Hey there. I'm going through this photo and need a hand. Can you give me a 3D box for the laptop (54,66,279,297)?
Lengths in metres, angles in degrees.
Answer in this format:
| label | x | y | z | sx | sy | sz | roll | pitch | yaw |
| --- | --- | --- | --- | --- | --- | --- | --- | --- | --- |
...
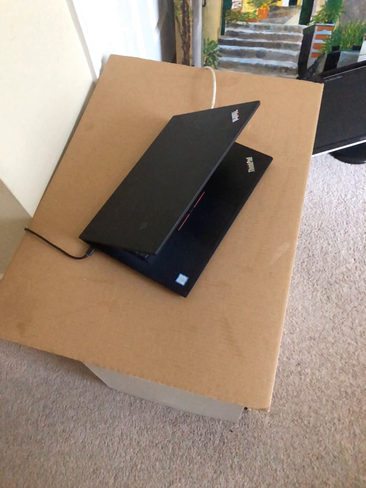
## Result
| label | x | y | z | sx | sy | sz | roll | pitch | yaw |
| --- | --- | --- | --- | --- | --- | --- | --- | --- | --- |
| laptop | -0.014 | -0.121 | 0.719 | 0.232 | 0.140 | 0.335 | 26 | 68 | 18 |
